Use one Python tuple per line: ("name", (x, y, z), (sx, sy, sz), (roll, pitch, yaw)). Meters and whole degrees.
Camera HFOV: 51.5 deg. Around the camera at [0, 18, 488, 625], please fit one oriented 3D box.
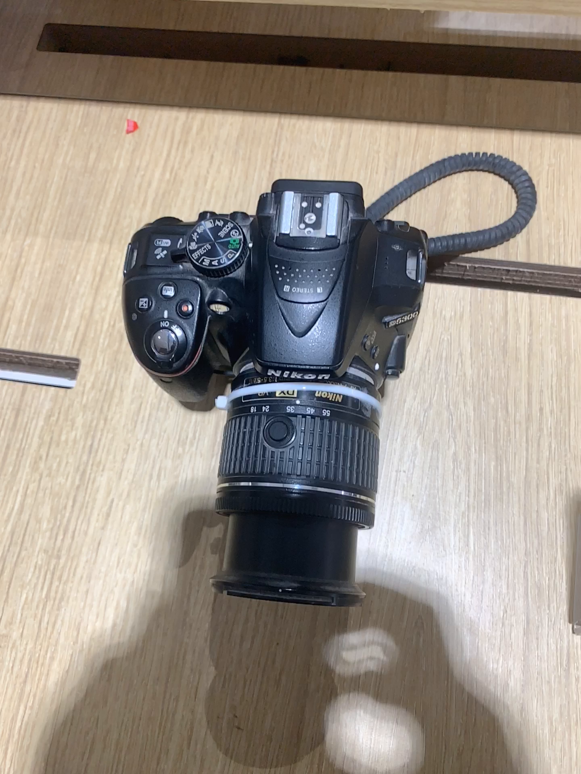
("camera", (-0.011, -0.024, 0.259), (0.160, 0.120, 0.210), (4, 73, 7))
